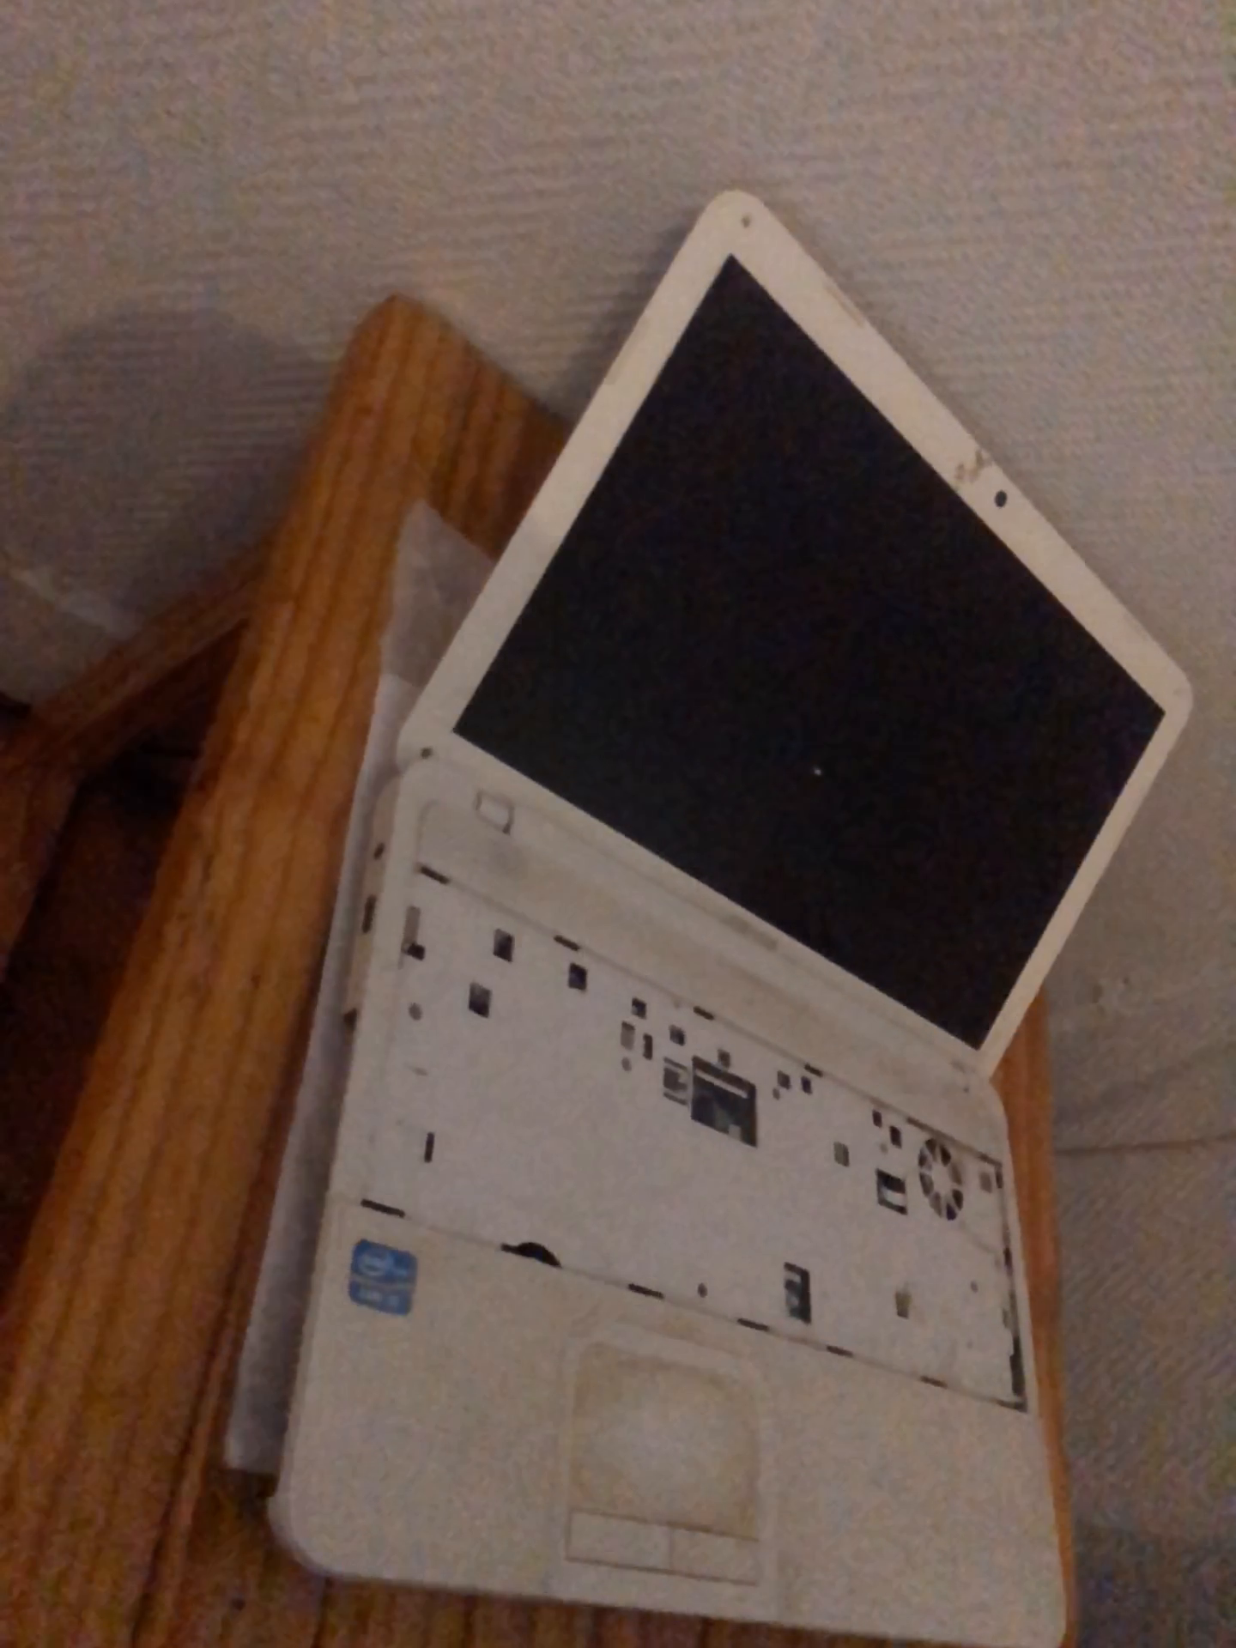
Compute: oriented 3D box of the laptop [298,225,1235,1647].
[{"bbox_3d":[0.108,0.060,0.509,0.372,0.118,0.419,33,47,-35],"label":"laptop"}]
